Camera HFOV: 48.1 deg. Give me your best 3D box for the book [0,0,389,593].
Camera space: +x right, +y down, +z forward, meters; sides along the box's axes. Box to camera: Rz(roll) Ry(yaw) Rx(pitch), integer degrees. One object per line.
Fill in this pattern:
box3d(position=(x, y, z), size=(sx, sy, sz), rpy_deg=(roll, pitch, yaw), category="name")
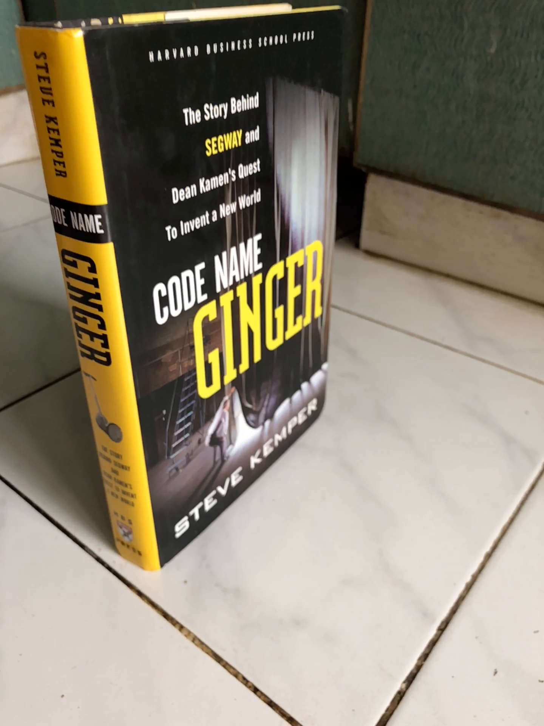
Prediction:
box3d(position=(-0.014, -0.039, 0.303), size=(0.040, 0.239, 0.191), rpy_deg=(21, 38, 29), category="book")
